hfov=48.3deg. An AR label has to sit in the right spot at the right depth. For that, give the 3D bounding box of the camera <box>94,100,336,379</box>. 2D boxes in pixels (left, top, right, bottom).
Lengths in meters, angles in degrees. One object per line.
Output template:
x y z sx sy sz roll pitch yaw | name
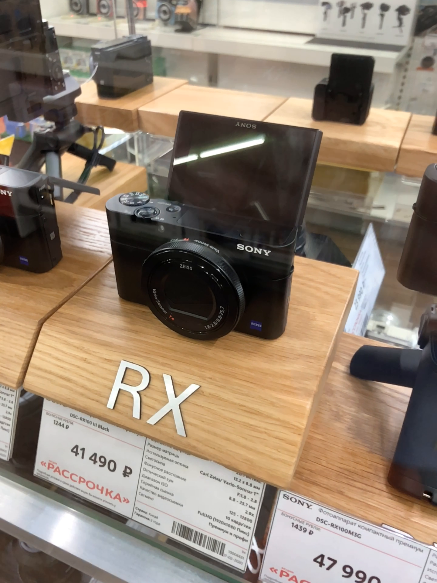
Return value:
-0.002 -0.027 0.260 0.100 0.119 0.050 15 38 19 | camera

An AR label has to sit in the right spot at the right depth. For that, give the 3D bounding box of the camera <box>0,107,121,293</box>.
-0.136 -0.065 0.313 0.101 0.067 0.097 15 39 18 | camera
